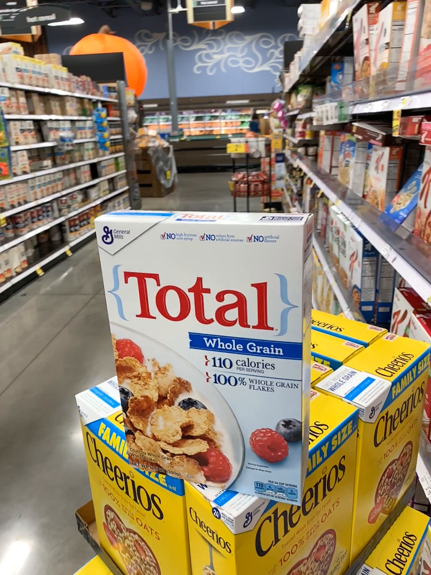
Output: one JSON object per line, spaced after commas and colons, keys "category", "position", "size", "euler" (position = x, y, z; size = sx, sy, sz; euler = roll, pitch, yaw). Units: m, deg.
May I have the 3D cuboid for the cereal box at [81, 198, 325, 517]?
{"category": "cereal box", "position": [-0.005, 0.067, 0.438], "size": [0.210, 0.299, 0.050], "euler": [4, 21, 20]}
